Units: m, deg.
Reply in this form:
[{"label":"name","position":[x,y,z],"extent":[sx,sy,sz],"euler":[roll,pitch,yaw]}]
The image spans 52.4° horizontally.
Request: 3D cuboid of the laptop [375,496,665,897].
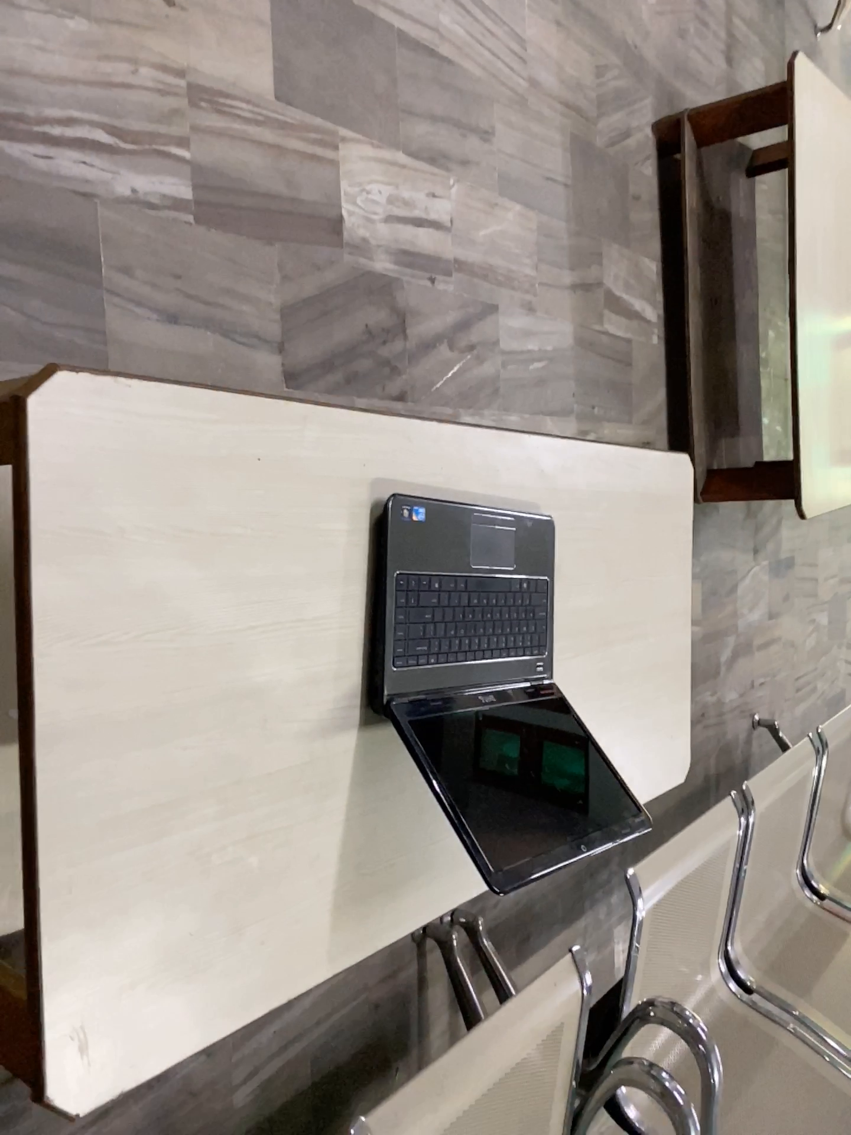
[{"label":"laptop","position":[0.121,0.125,0.990],"extent":[0.331,0.152,0.378],"euler":[3,89,-49]}]
